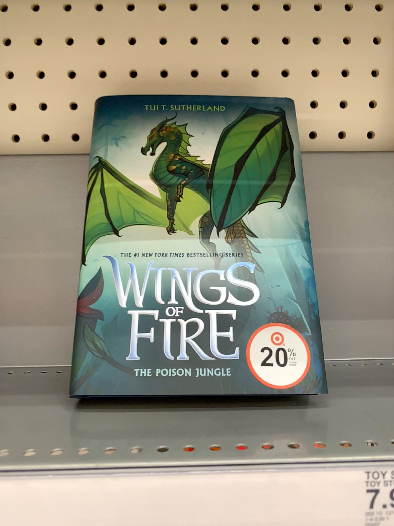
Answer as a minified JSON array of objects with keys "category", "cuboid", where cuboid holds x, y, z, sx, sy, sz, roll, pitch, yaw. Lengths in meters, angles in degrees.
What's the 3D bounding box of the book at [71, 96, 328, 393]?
[{"category":"book","cuboid":[0.001,-0.021,0.294,0.150,0.216,0.036,-1,-21,0]}]
